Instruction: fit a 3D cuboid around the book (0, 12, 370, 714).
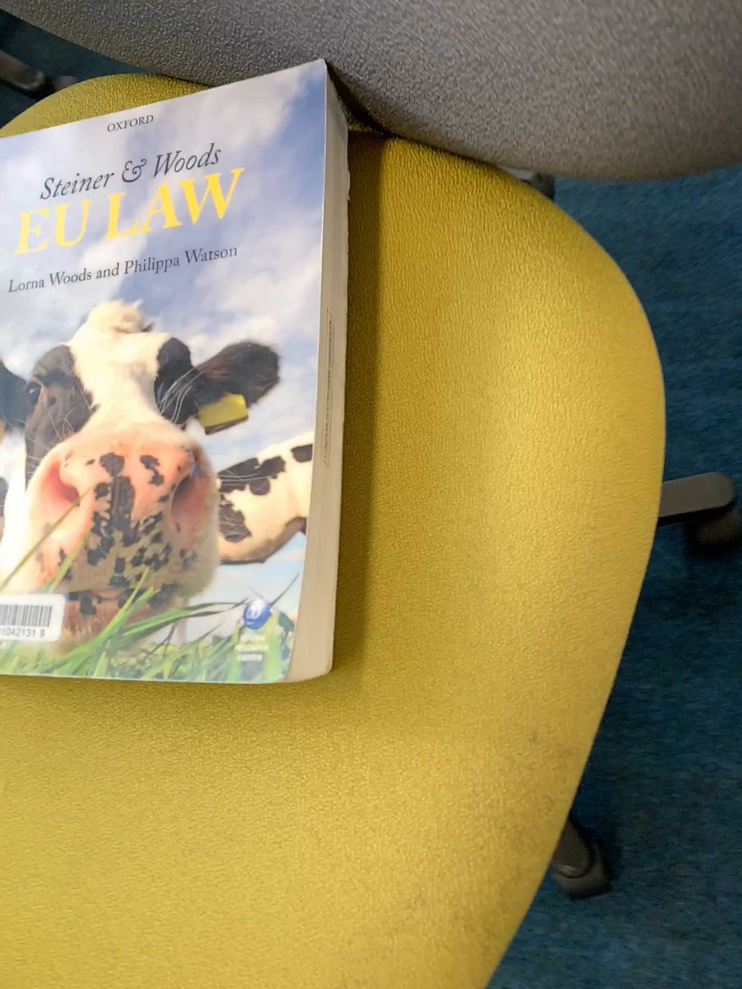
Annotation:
[{"bbox_3d":[-0.105,-0.048,0.314,0.200,0.050,0.261,-4,75,18],"label":"book"}]
